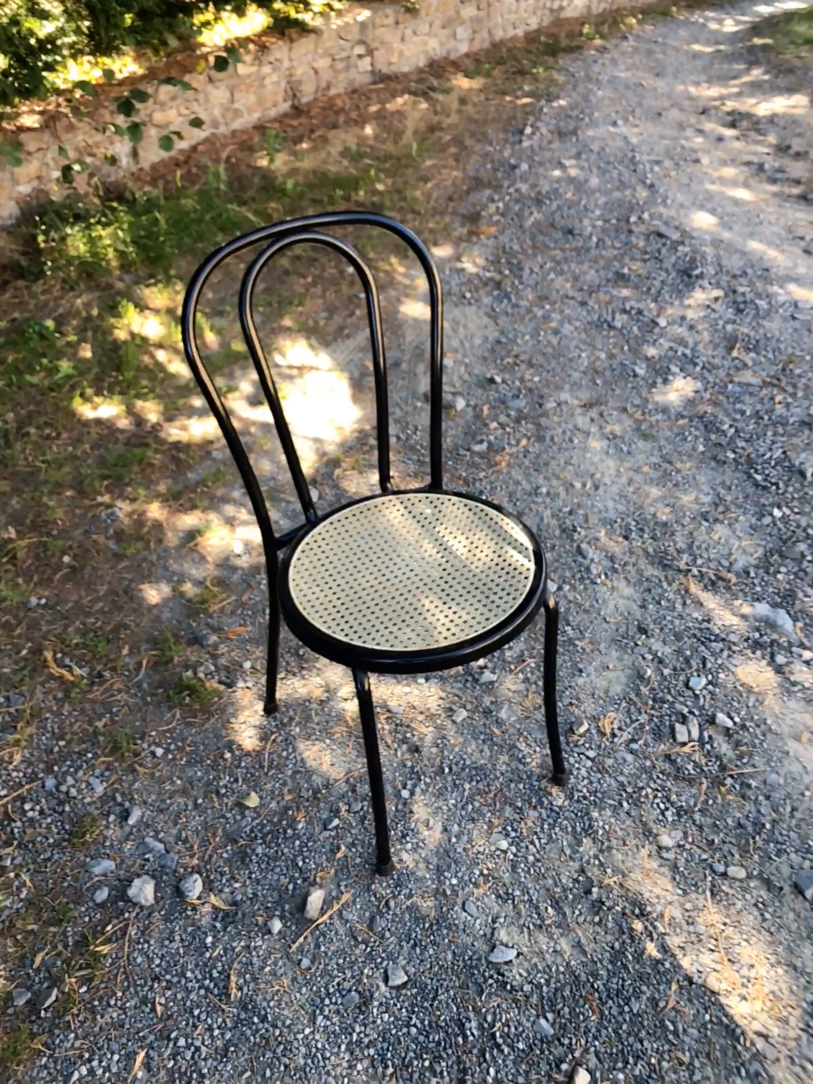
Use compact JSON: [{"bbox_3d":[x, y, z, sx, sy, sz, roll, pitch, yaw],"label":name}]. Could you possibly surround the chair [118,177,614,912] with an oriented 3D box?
[{"bbox_3d":[-0.036,0.005,1.315,0.431,0.875,0.471,-21,38,-20],"label":"chair"}]
